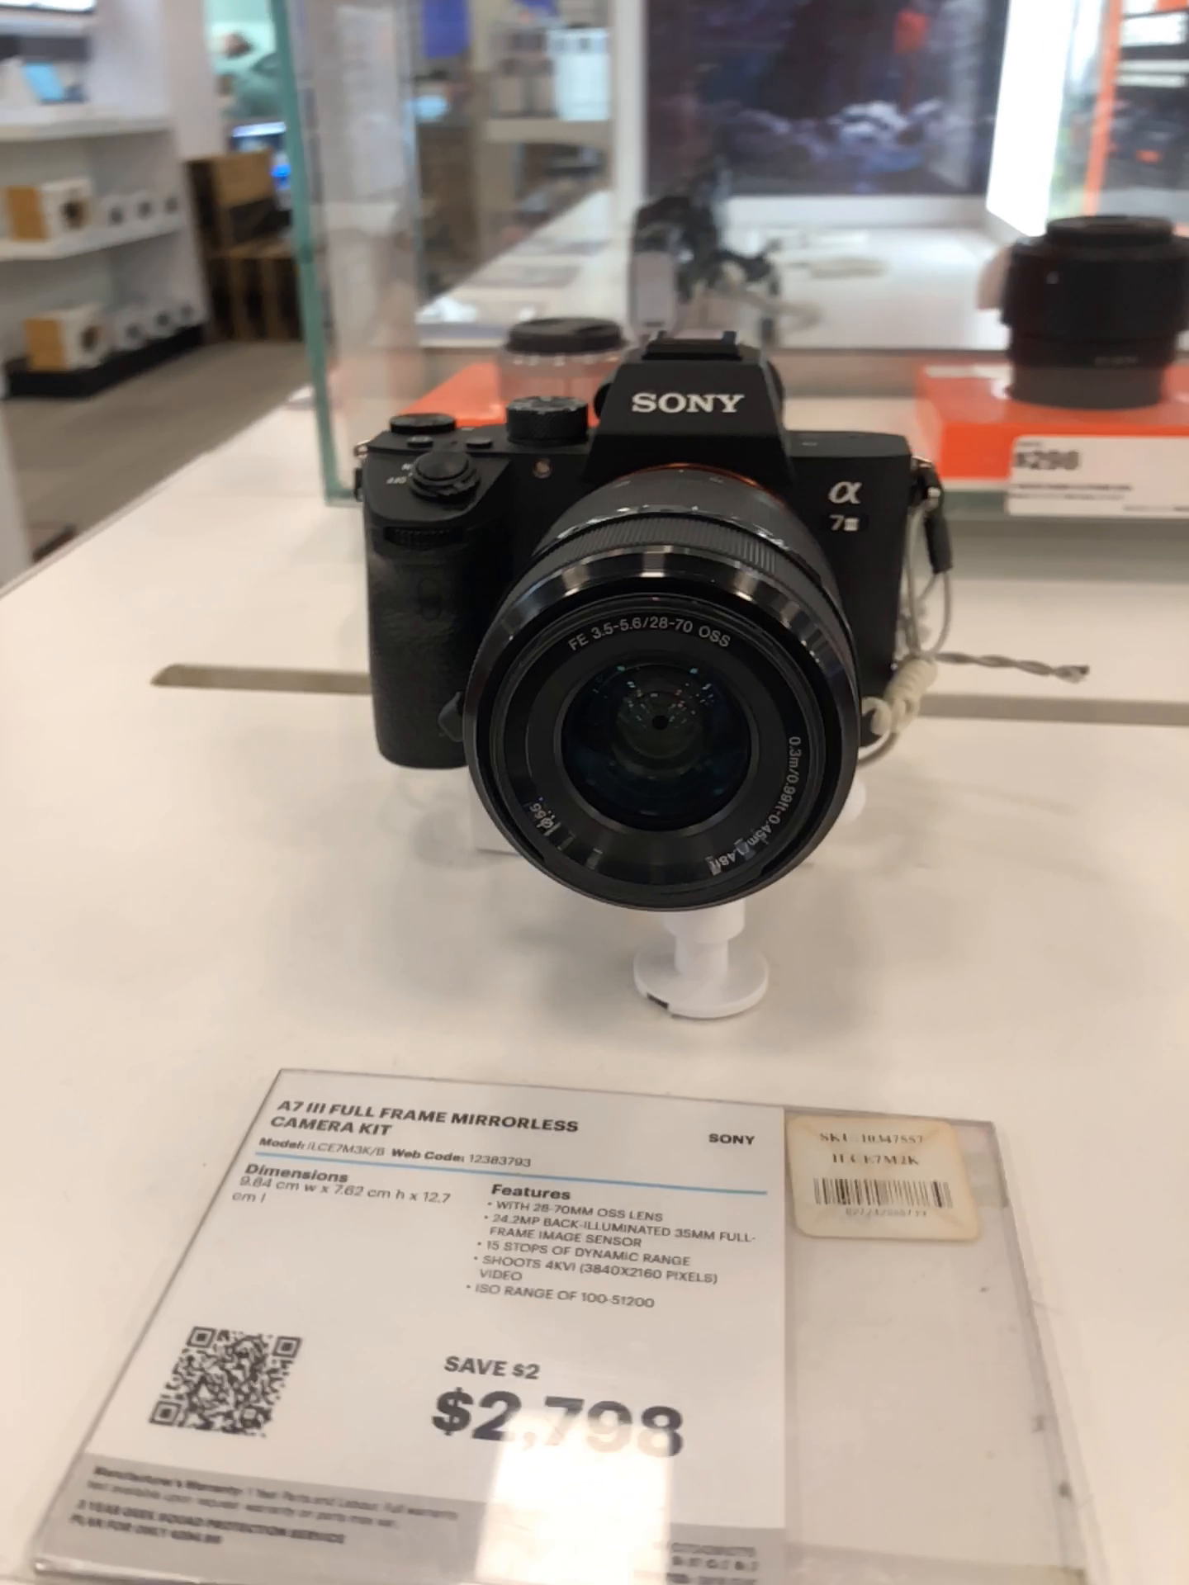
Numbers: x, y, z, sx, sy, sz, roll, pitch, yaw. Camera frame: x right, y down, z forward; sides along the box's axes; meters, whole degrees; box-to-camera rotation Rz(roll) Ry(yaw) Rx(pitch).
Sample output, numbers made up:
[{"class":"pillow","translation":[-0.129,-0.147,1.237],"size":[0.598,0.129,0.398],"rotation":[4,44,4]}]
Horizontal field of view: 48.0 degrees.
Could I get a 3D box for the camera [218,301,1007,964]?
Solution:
[{"class":"camera","translation":[0.012,-0.051,0.312],"size":[0.130,0.100,0.161],"rotation":[2,28,7]}]
